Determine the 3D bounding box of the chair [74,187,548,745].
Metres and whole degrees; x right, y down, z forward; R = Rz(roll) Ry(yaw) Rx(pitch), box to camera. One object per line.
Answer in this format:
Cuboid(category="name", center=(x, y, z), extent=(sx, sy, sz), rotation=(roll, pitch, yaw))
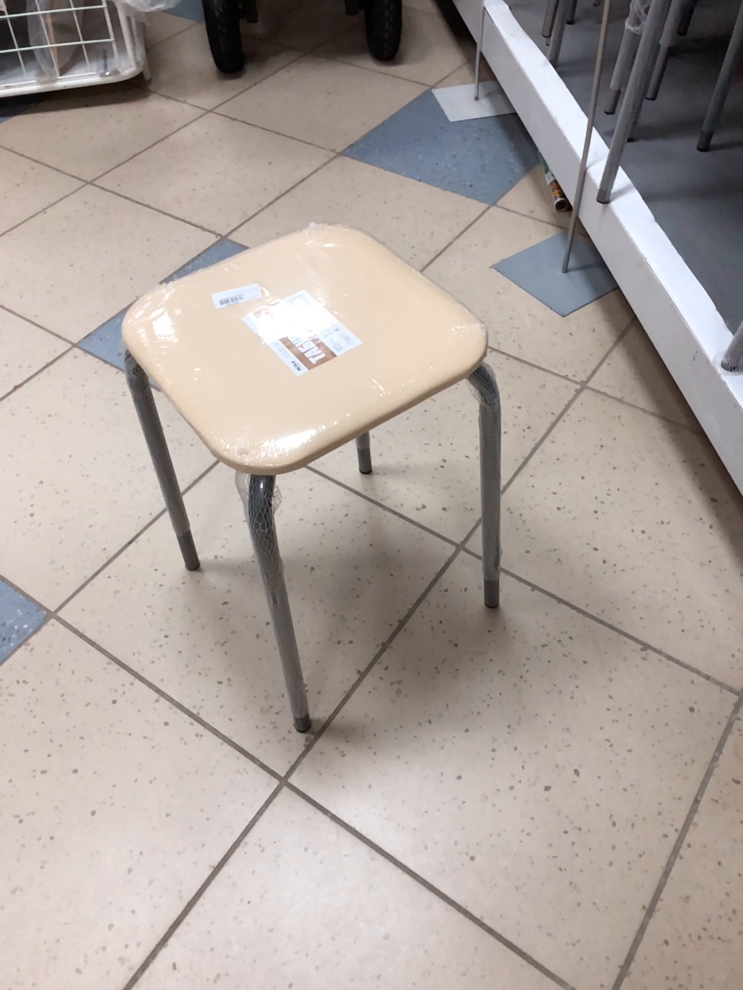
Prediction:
Cuboid(category="chair", center=(-0.062, -0.026, 0.920), extent=(0.311, 0.437, 0.341), rotation=(-28, 55, -20))
